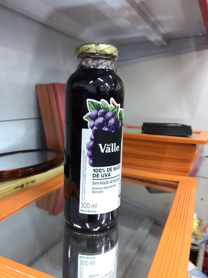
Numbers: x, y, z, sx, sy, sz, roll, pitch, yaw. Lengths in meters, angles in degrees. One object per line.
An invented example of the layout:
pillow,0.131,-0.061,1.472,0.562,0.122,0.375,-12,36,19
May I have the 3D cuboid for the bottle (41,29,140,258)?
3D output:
bottle,-0.017,0.003,0.235,0.070,0.189,0.060,-3,10,-38
